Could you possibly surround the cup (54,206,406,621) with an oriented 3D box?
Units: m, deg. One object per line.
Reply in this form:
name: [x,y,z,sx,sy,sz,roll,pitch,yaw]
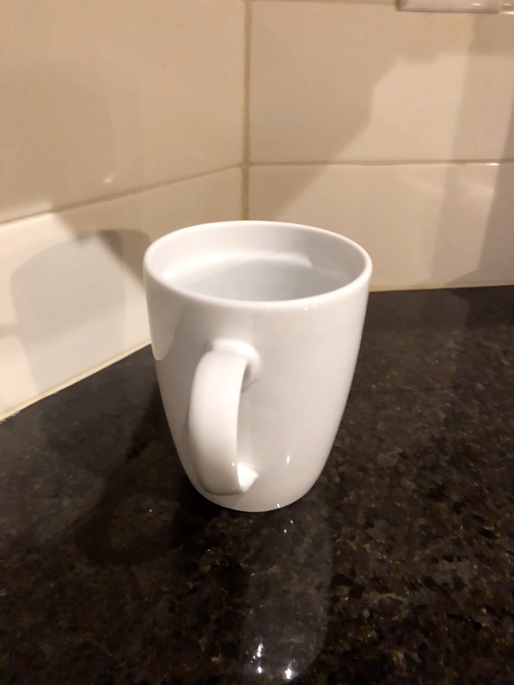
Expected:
cup: [0.003,0.012,0.224,0.090,0.090,0.131,8,29,12]
